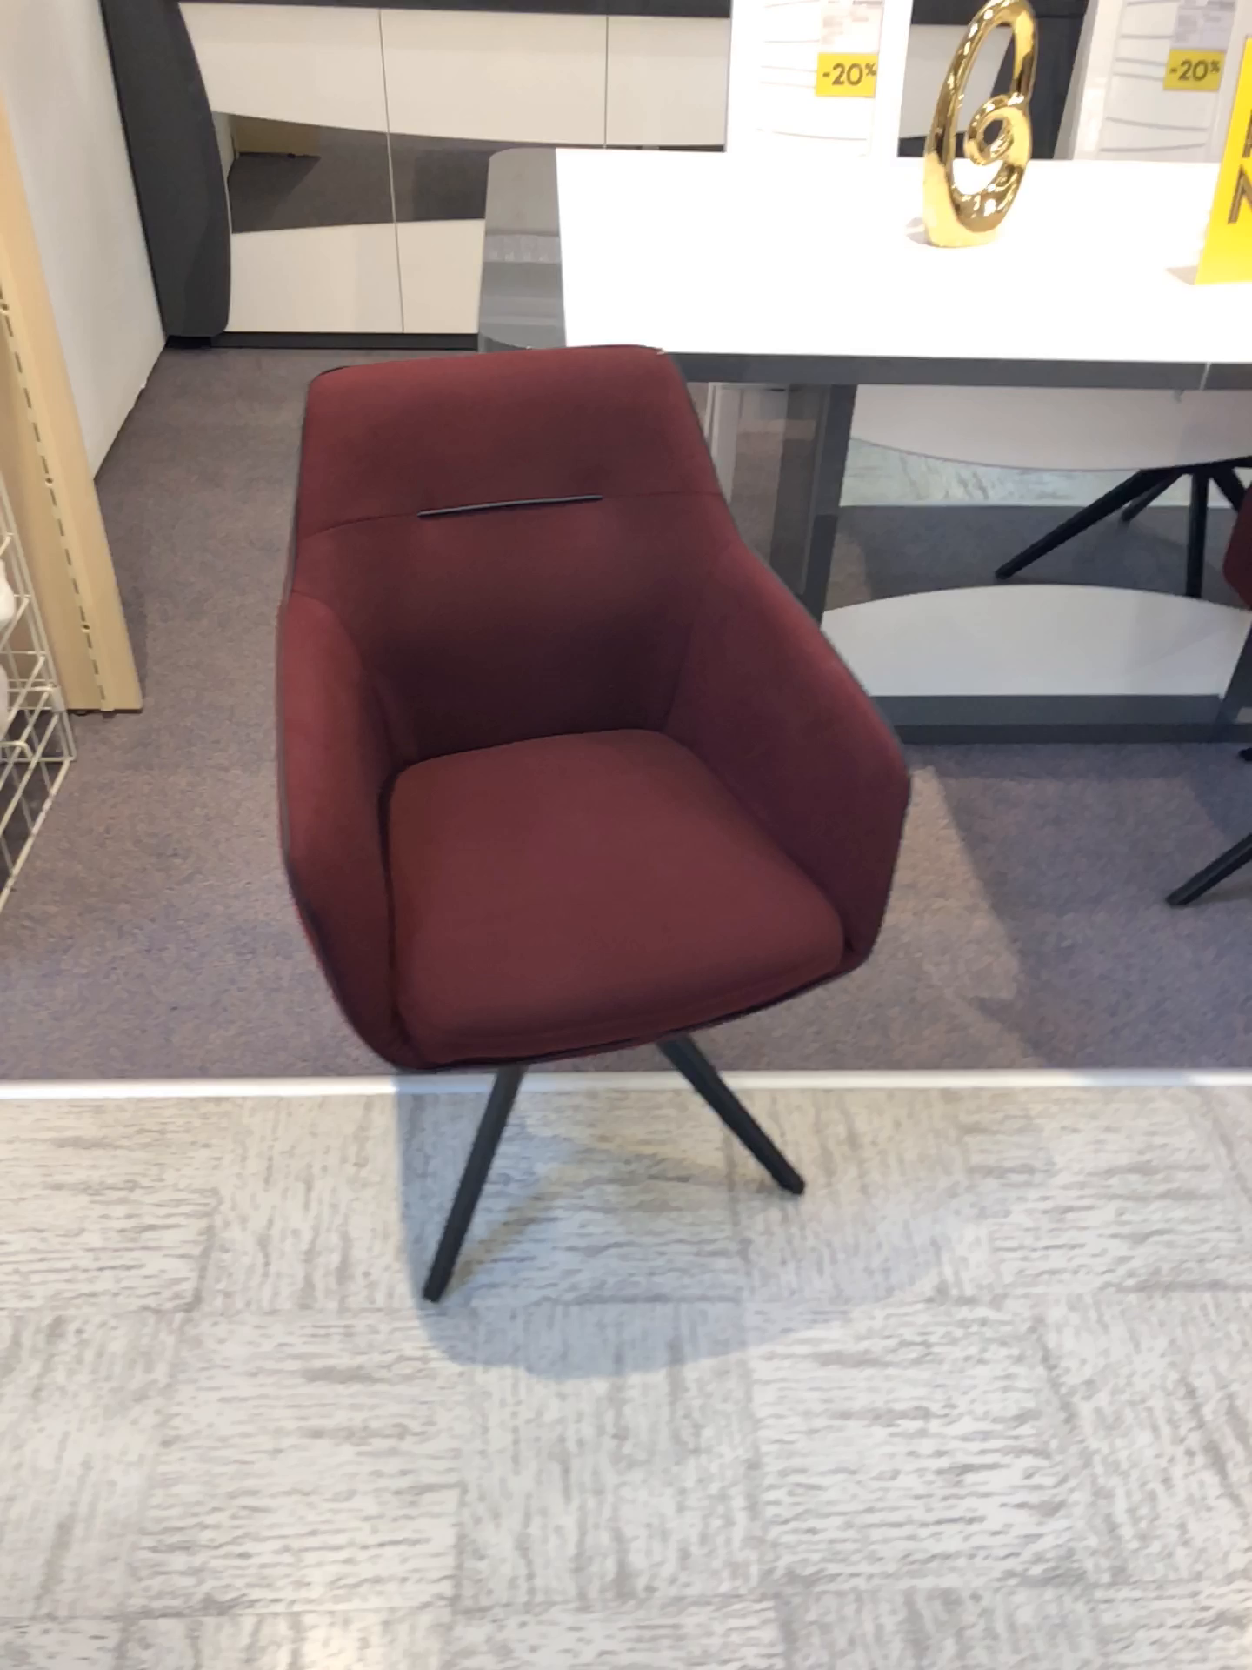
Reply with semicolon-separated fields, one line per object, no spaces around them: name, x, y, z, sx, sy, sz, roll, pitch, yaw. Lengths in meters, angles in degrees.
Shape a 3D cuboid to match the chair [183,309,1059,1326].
chair;-0.059;-0.036;1.364;0.581;0.736;0.572;-10;42;-15
